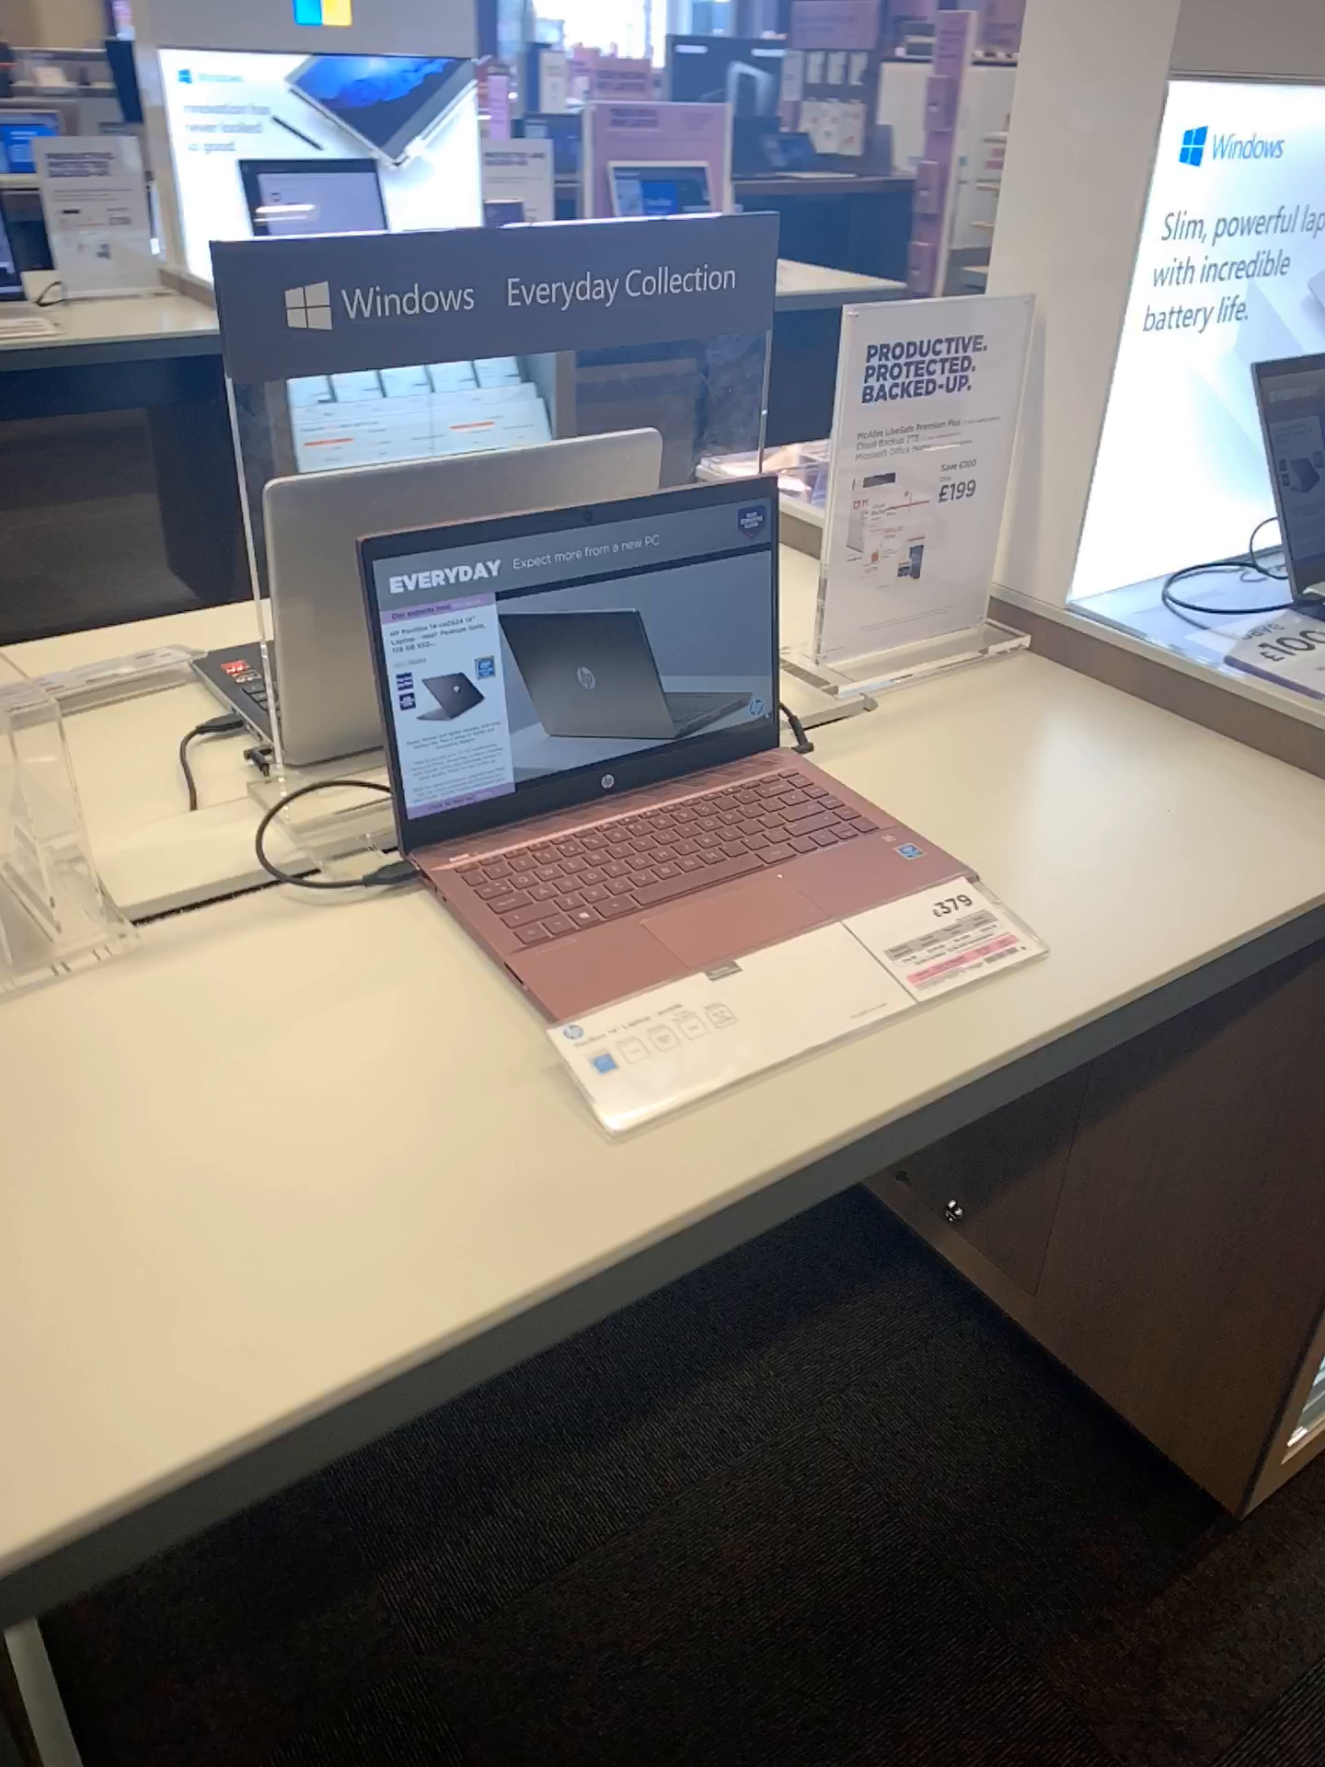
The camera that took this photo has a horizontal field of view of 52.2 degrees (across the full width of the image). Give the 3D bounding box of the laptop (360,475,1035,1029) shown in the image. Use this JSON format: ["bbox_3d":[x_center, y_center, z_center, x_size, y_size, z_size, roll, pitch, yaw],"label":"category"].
[{"bbox_3d":[0.015,-0.106,0.850,0.313,0.200,0.250,-17,37,-29],"label":"laptop"}]

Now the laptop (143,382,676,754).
[{"bbox_3d":[-0.197,-0.269,1.083,0.325,0.186,0.244,-19,36,-31],"label":"laptop"}]
